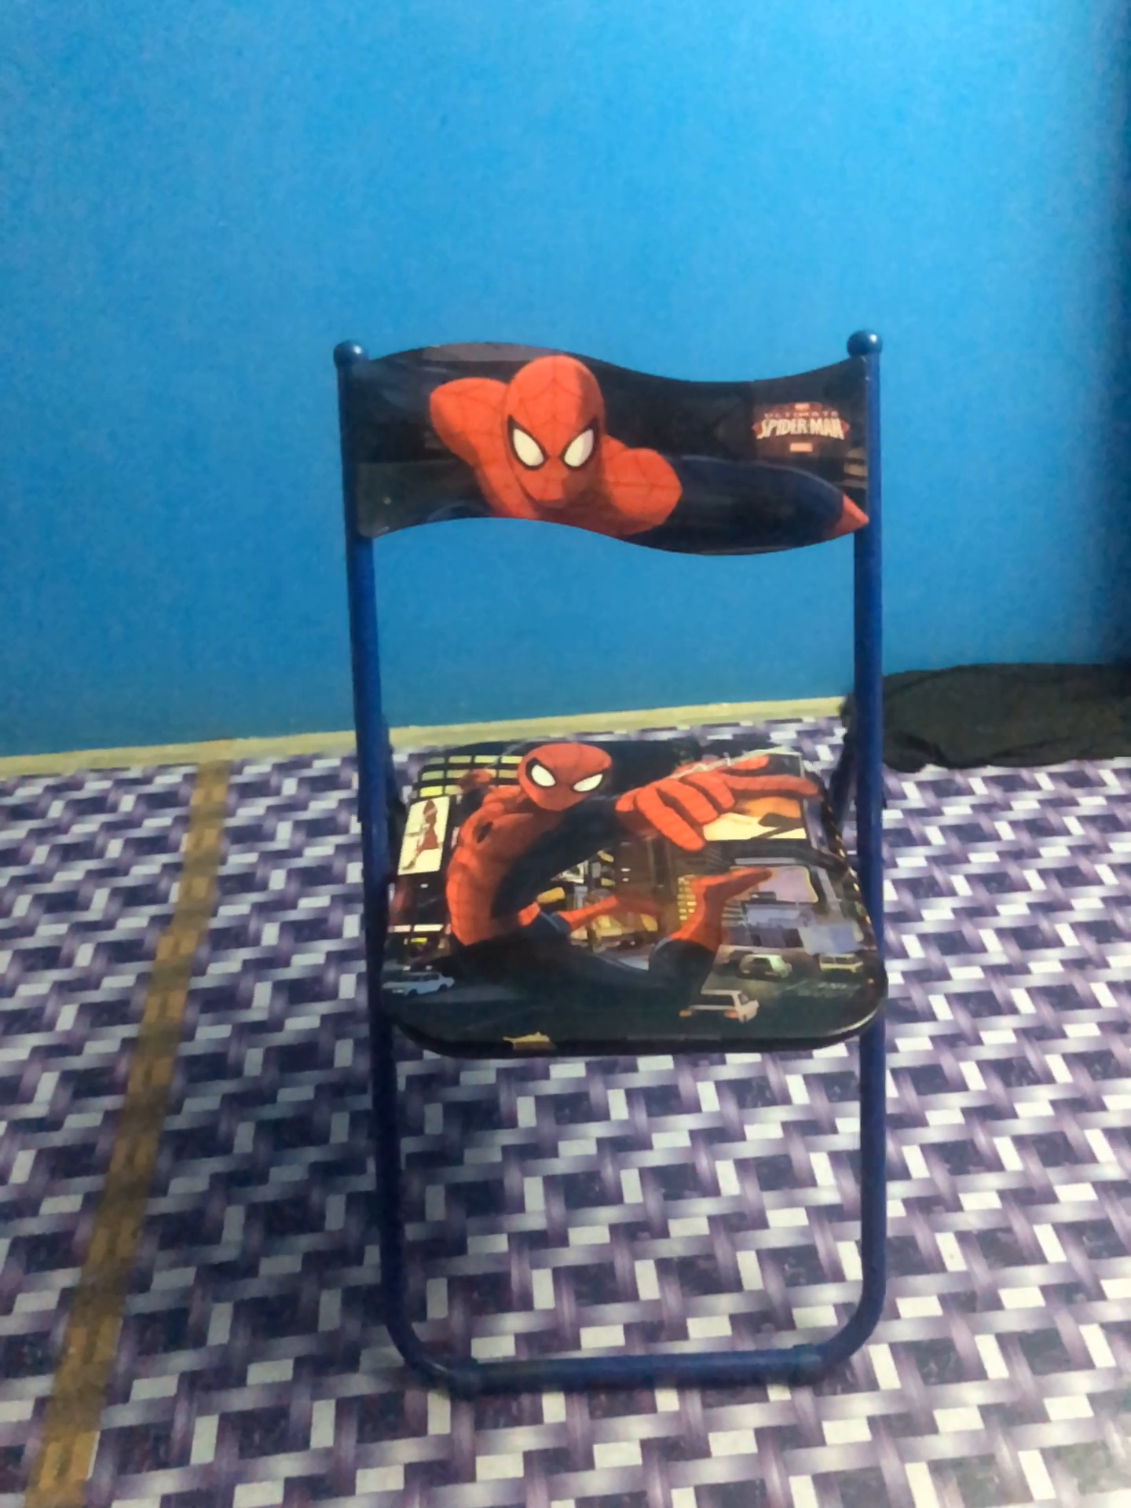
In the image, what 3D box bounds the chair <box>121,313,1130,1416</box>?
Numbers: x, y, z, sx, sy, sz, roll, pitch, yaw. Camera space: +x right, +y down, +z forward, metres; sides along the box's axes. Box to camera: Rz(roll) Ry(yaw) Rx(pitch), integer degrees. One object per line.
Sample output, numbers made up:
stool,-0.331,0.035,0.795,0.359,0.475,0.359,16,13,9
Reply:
chair,0.029,0.070,1.021,0.510,0.686,0.563,-2,35,-3
